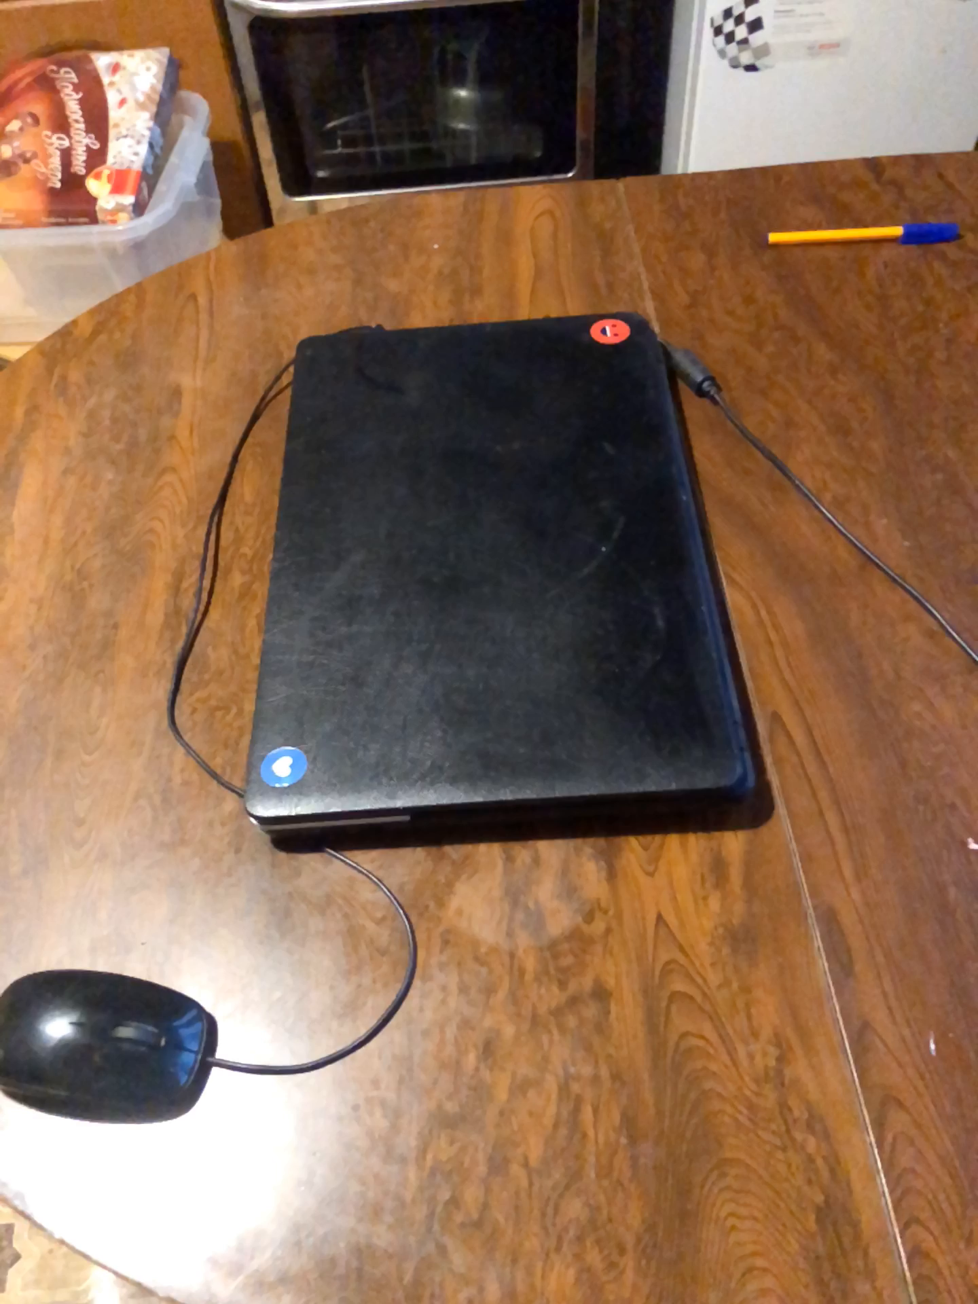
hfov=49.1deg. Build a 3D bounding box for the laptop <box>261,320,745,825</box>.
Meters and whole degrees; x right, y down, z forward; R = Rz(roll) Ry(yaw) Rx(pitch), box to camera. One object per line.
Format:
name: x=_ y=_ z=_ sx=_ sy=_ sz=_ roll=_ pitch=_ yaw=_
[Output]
laptop: x=-0.003 y=-0.071 z=0.637 sx=0.238 sy=0.007 sz=0.367 roll=-5 pitch=54 yaw=2
